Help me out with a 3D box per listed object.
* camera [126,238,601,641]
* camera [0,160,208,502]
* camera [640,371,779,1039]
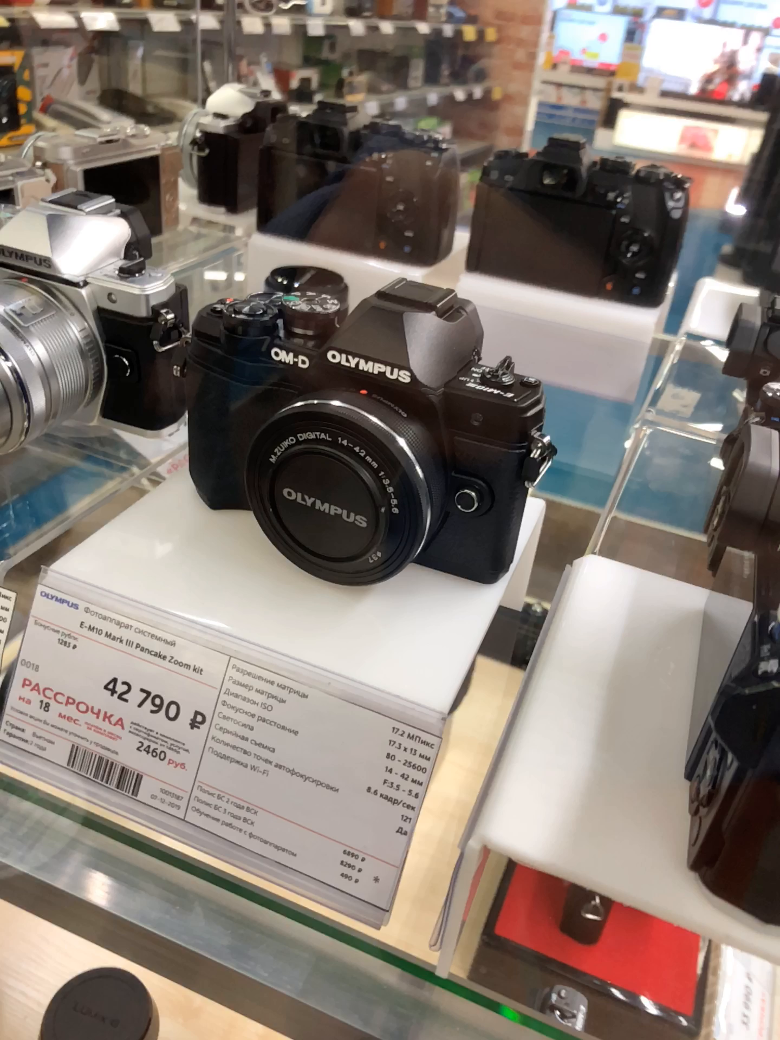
[{"bbox_3d":[-0.011,-0.032,0.283,0.129,0.082,0.064,18,33,19],"label":"camera"},{"bbox_3d":[-0.142,-0.077,0.321,0.112,0.080,0.094,18,33,19],"label":"camera"},{"bbox_3d":[0.123,0.029,0.206,0.094,0.074,0.124,16,32,15],"label":"camera"}]
